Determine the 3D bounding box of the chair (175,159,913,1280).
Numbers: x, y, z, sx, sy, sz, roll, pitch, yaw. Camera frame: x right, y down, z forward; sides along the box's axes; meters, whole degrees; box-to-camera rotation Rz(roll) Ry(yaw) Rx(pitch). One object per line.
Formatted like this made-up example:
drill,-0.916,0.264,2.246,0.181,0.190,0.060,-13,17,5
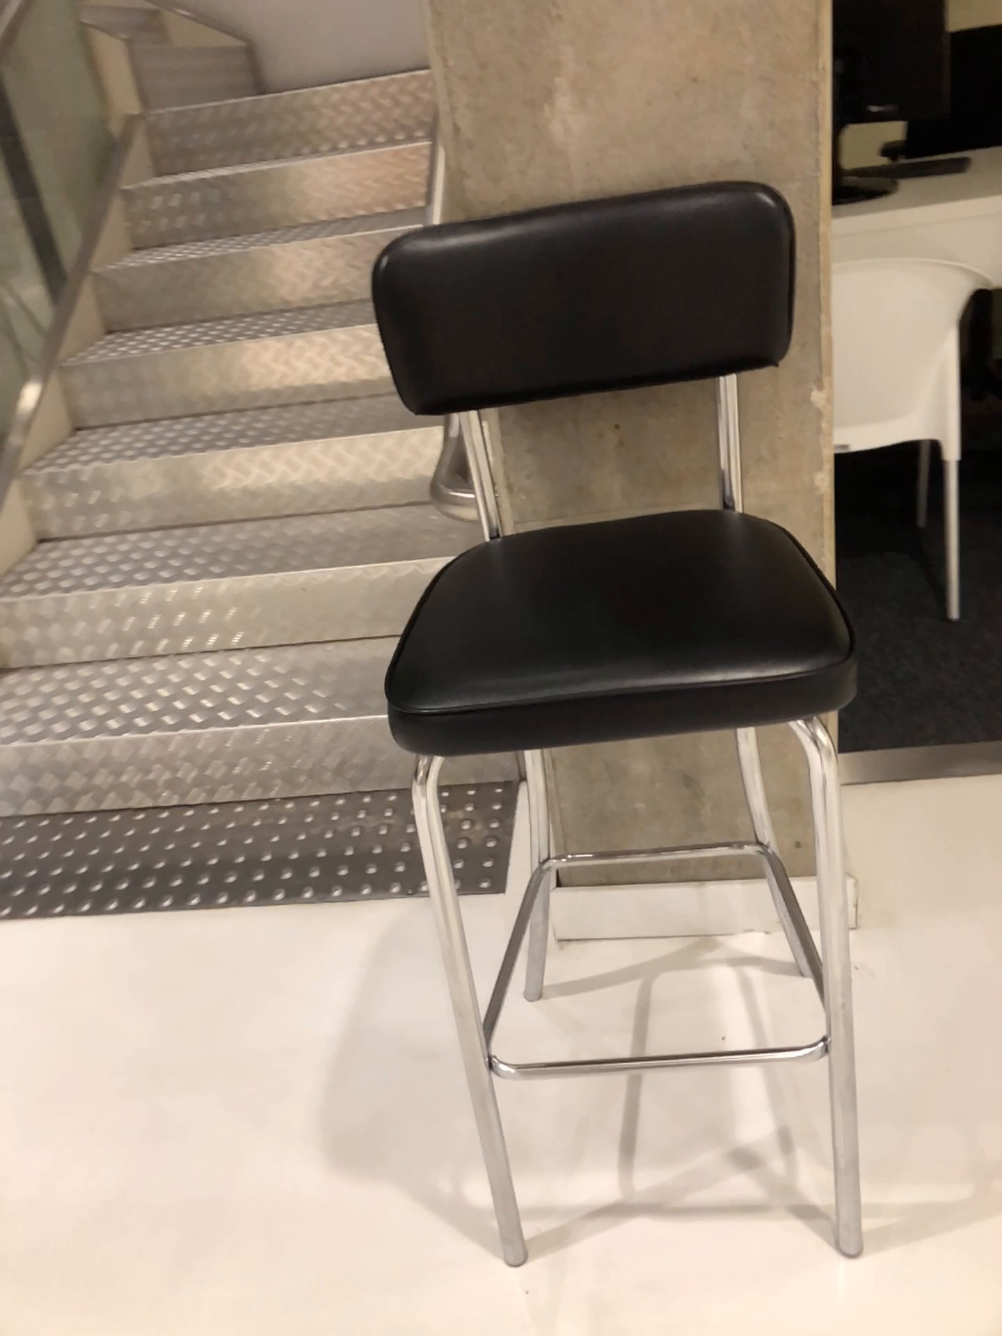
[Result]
chair,0.107,0.086,1.085,0.450,0.983,0.443,-5,28,8
